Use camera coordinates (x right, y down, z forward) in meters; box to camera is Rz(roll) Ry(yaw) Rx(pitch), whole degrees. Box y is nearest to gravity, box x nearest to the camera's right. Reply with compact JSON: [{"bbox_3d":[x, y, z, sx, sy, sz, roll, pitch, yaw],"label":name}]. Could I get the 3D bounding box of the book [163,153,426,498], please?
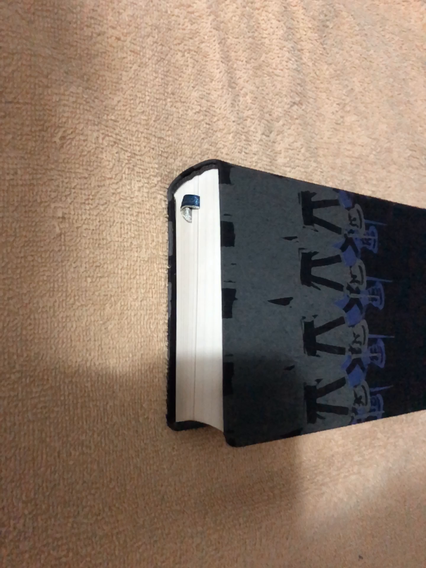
[{"bbox_3d":[0.068,0.021,0.269,0.191,0.050,0.140,3,82,-36],"label":"book"}]
